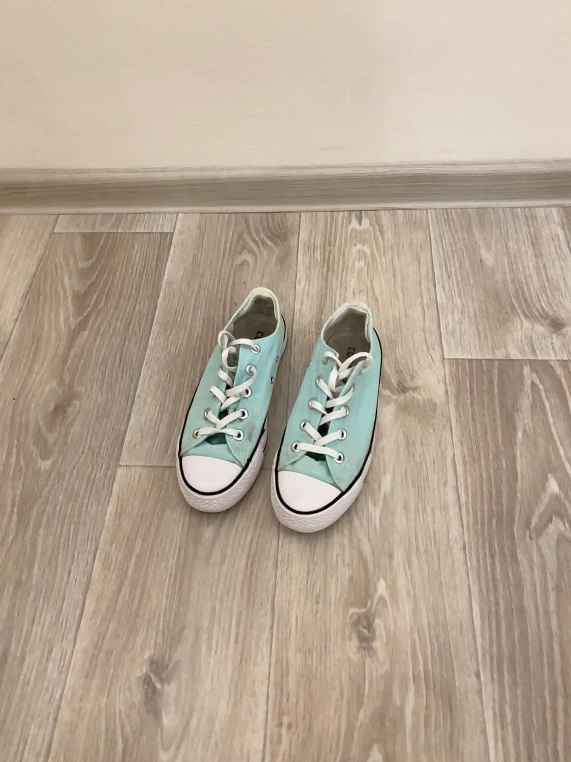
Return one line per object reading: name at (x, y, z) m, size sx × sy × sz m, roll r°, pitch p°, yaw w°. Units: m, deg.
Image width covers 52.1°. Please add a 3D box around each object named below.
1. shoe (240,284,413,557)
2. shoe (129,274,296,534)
shoe at (0.048, 0.026, 0.561) m, size 0.100 × 0.060 × 0.251 m, roll 12°, pitch 57°, yaw 12°
shoe at (-0.059, 0.011, 0.570) m, size 0.092 × 0.060 × 0.251 m, roll 7°, pitch 57°, yaw 9°
